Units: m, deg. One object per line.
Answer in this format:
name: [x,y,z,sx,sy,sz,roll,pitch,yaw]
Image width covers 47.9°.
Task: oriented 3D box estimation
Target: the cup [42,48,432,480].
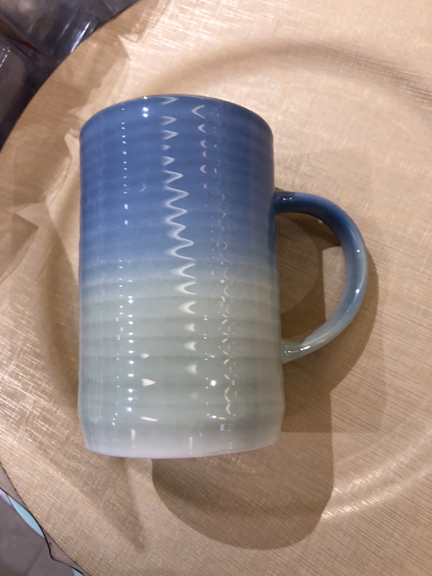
cup: [0.010,-0.008,0.183,0.120,0.060,0.140,-1,77,0]
